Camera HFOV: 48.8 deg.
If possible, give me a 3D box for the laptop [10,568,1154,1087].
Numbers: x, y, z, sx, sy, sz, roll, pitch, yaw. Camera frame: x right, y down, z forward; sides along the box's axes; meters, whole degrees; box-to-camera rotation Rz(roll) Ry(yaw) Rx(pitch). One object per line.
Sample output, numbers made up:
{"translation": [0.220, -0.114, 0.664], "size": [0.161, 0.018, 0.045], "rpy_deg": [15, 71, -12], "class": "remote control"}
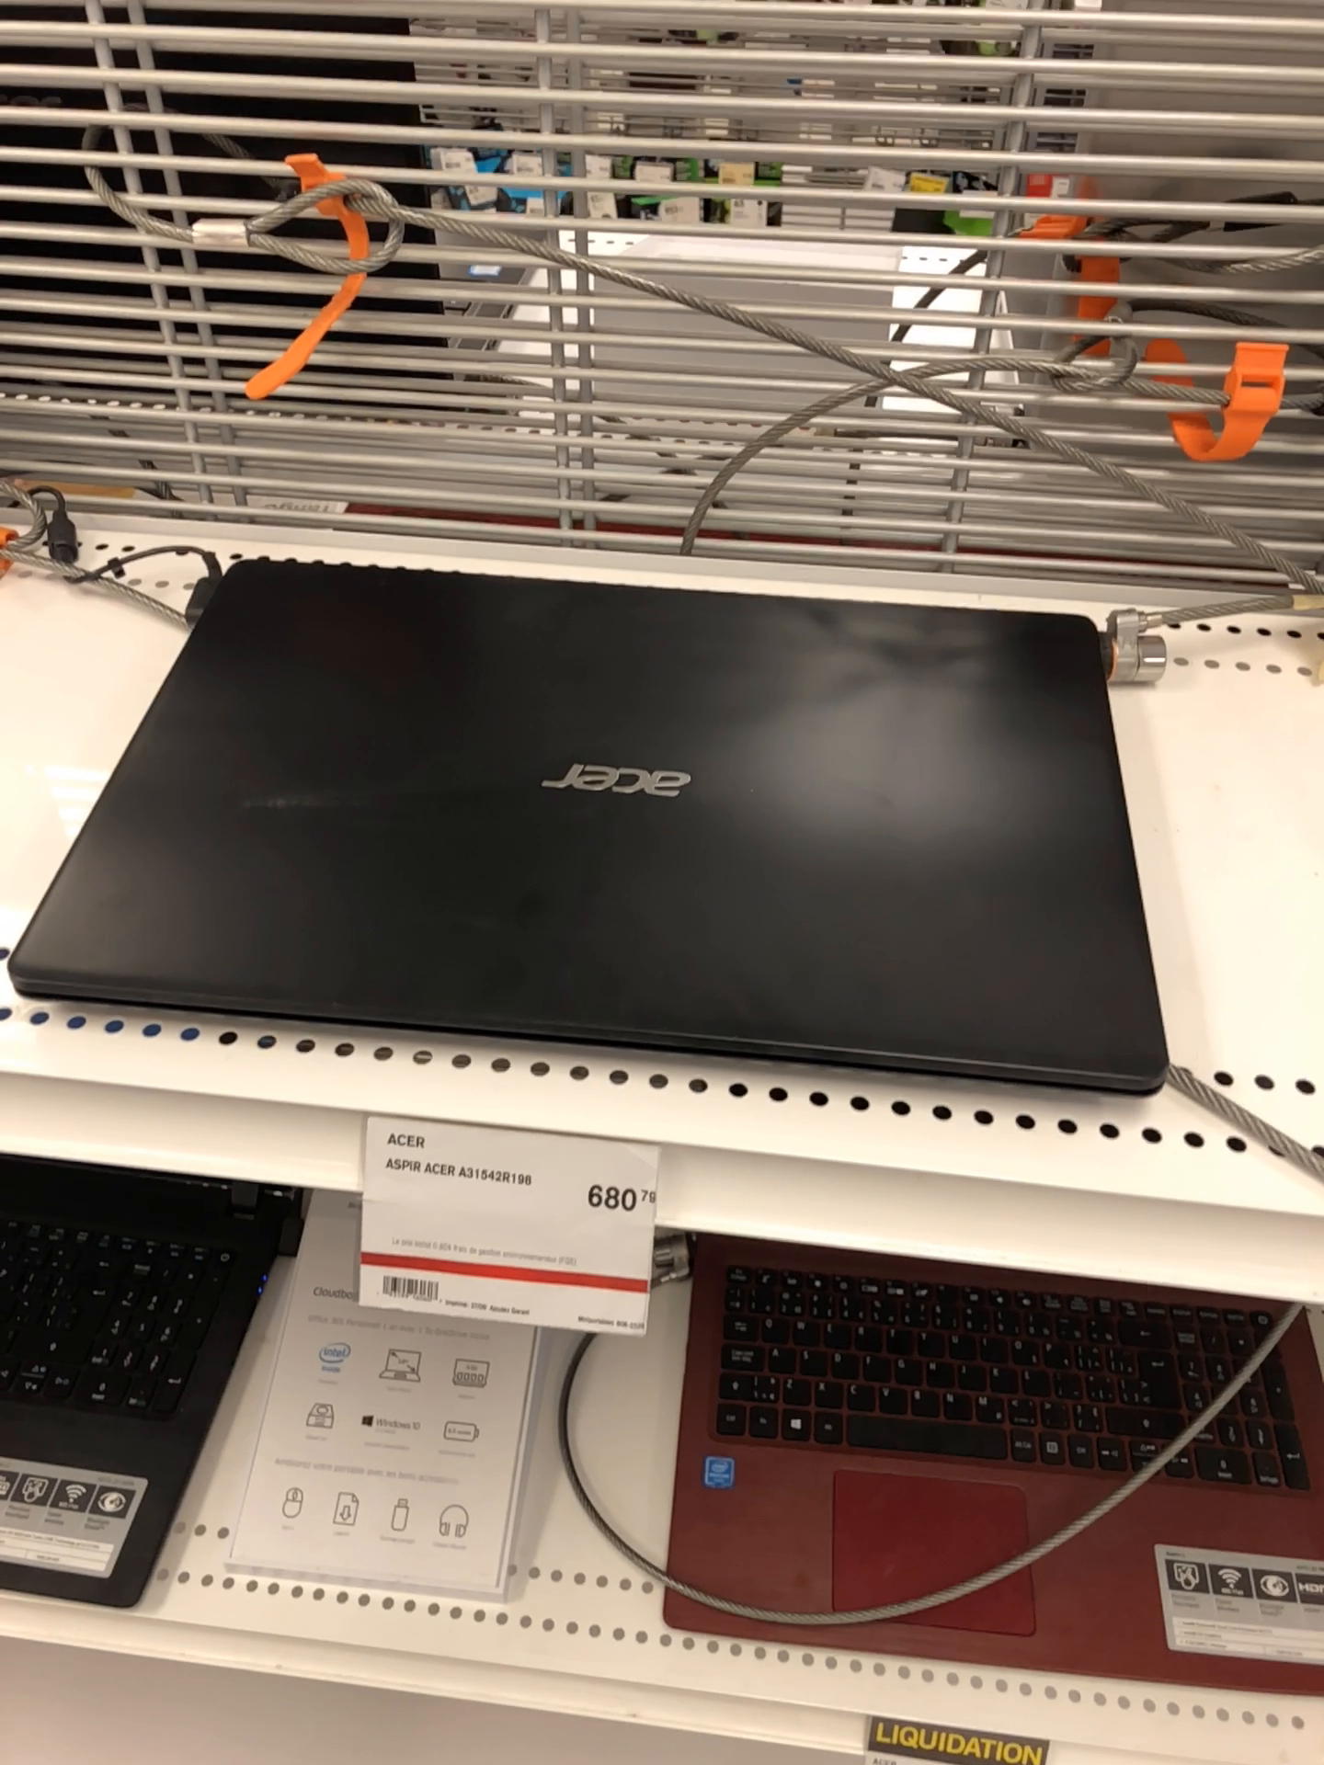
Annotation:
{"translation": [-0.015, -0.036, 0.532], "size": [0.354, 0.006, 0.232], "rpy_deg": [5, 45, 4], "class": "laptop"}
